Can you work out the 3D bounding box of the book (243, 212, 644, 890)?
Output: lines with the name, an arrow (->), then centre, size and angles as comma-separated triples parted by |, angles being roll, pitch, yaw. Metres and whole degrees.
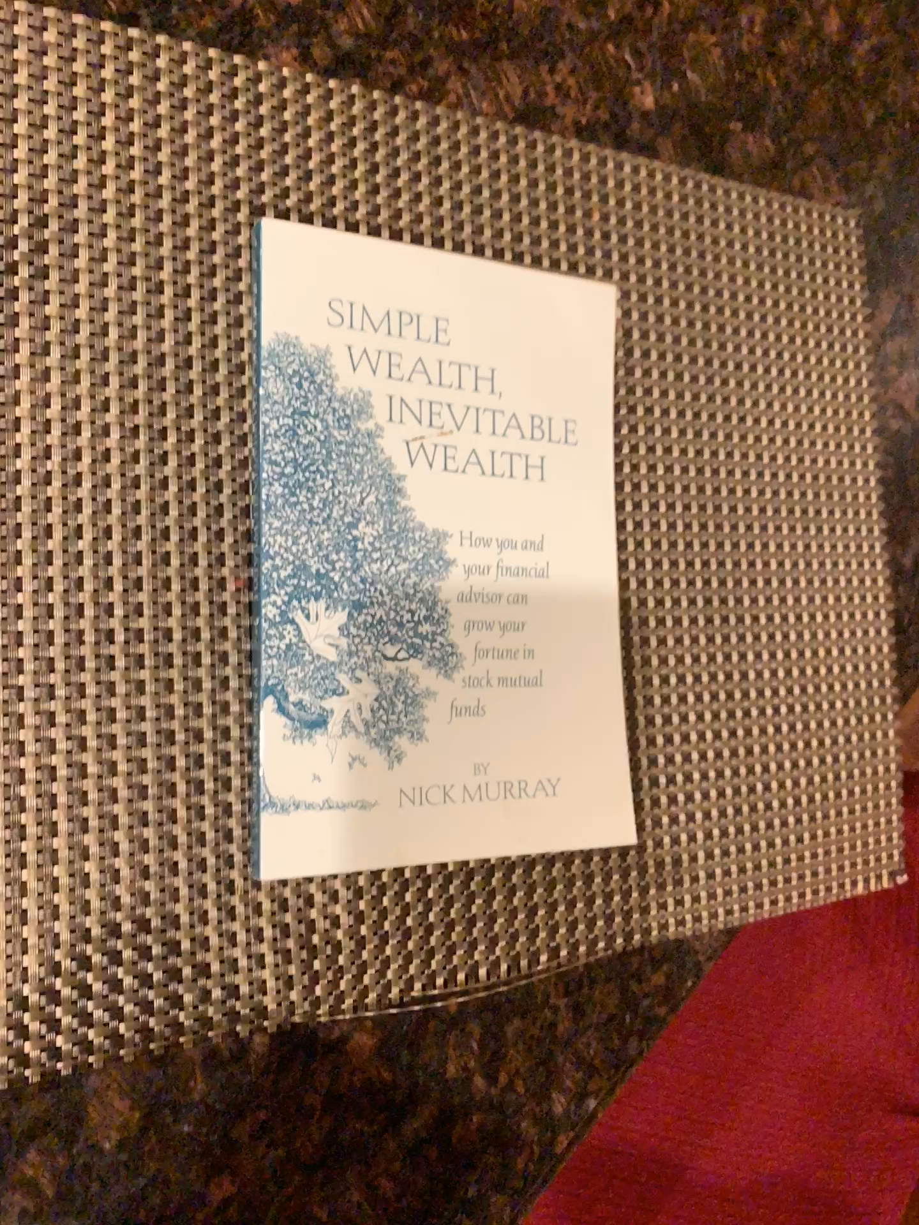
book -> -0.002, -0.019, 0.332 | 0.141, 0.021, 0.210 | 1, 86, -25
